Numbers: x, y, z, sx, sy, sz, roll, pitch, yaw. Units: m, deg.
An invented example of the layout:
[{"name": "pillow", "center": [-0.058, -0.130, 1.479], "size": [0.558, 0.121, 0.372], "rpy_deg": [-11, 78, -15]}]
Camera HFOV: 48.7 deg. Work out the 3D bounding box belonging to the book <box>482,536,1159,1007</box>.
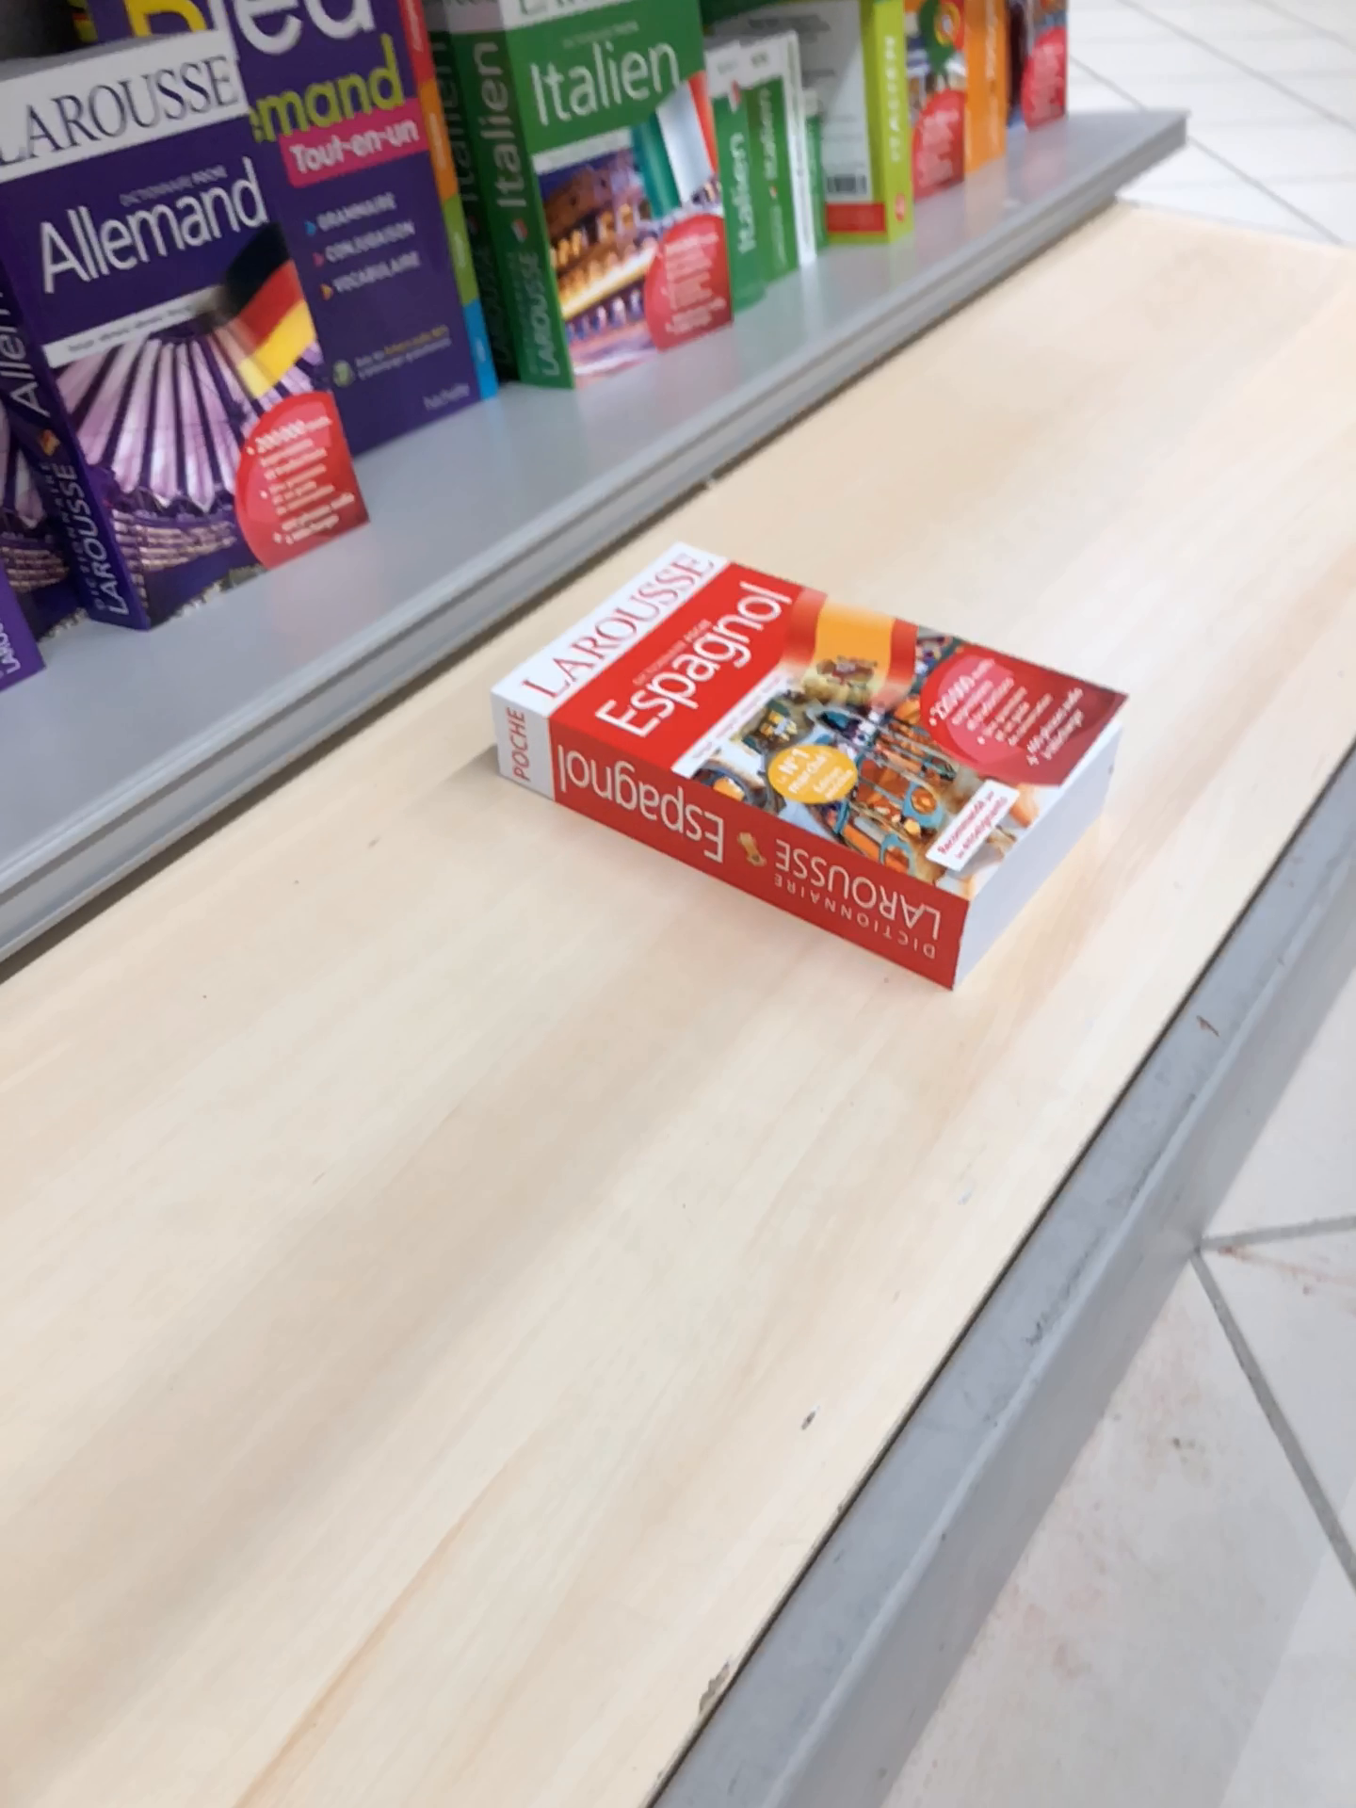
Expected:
[{"name": "book", "center": [0.045, -0.053, 0.494], "size": [0.182, 0.044, 0.118], "rpy_deg": [25, 47, 25]}]
